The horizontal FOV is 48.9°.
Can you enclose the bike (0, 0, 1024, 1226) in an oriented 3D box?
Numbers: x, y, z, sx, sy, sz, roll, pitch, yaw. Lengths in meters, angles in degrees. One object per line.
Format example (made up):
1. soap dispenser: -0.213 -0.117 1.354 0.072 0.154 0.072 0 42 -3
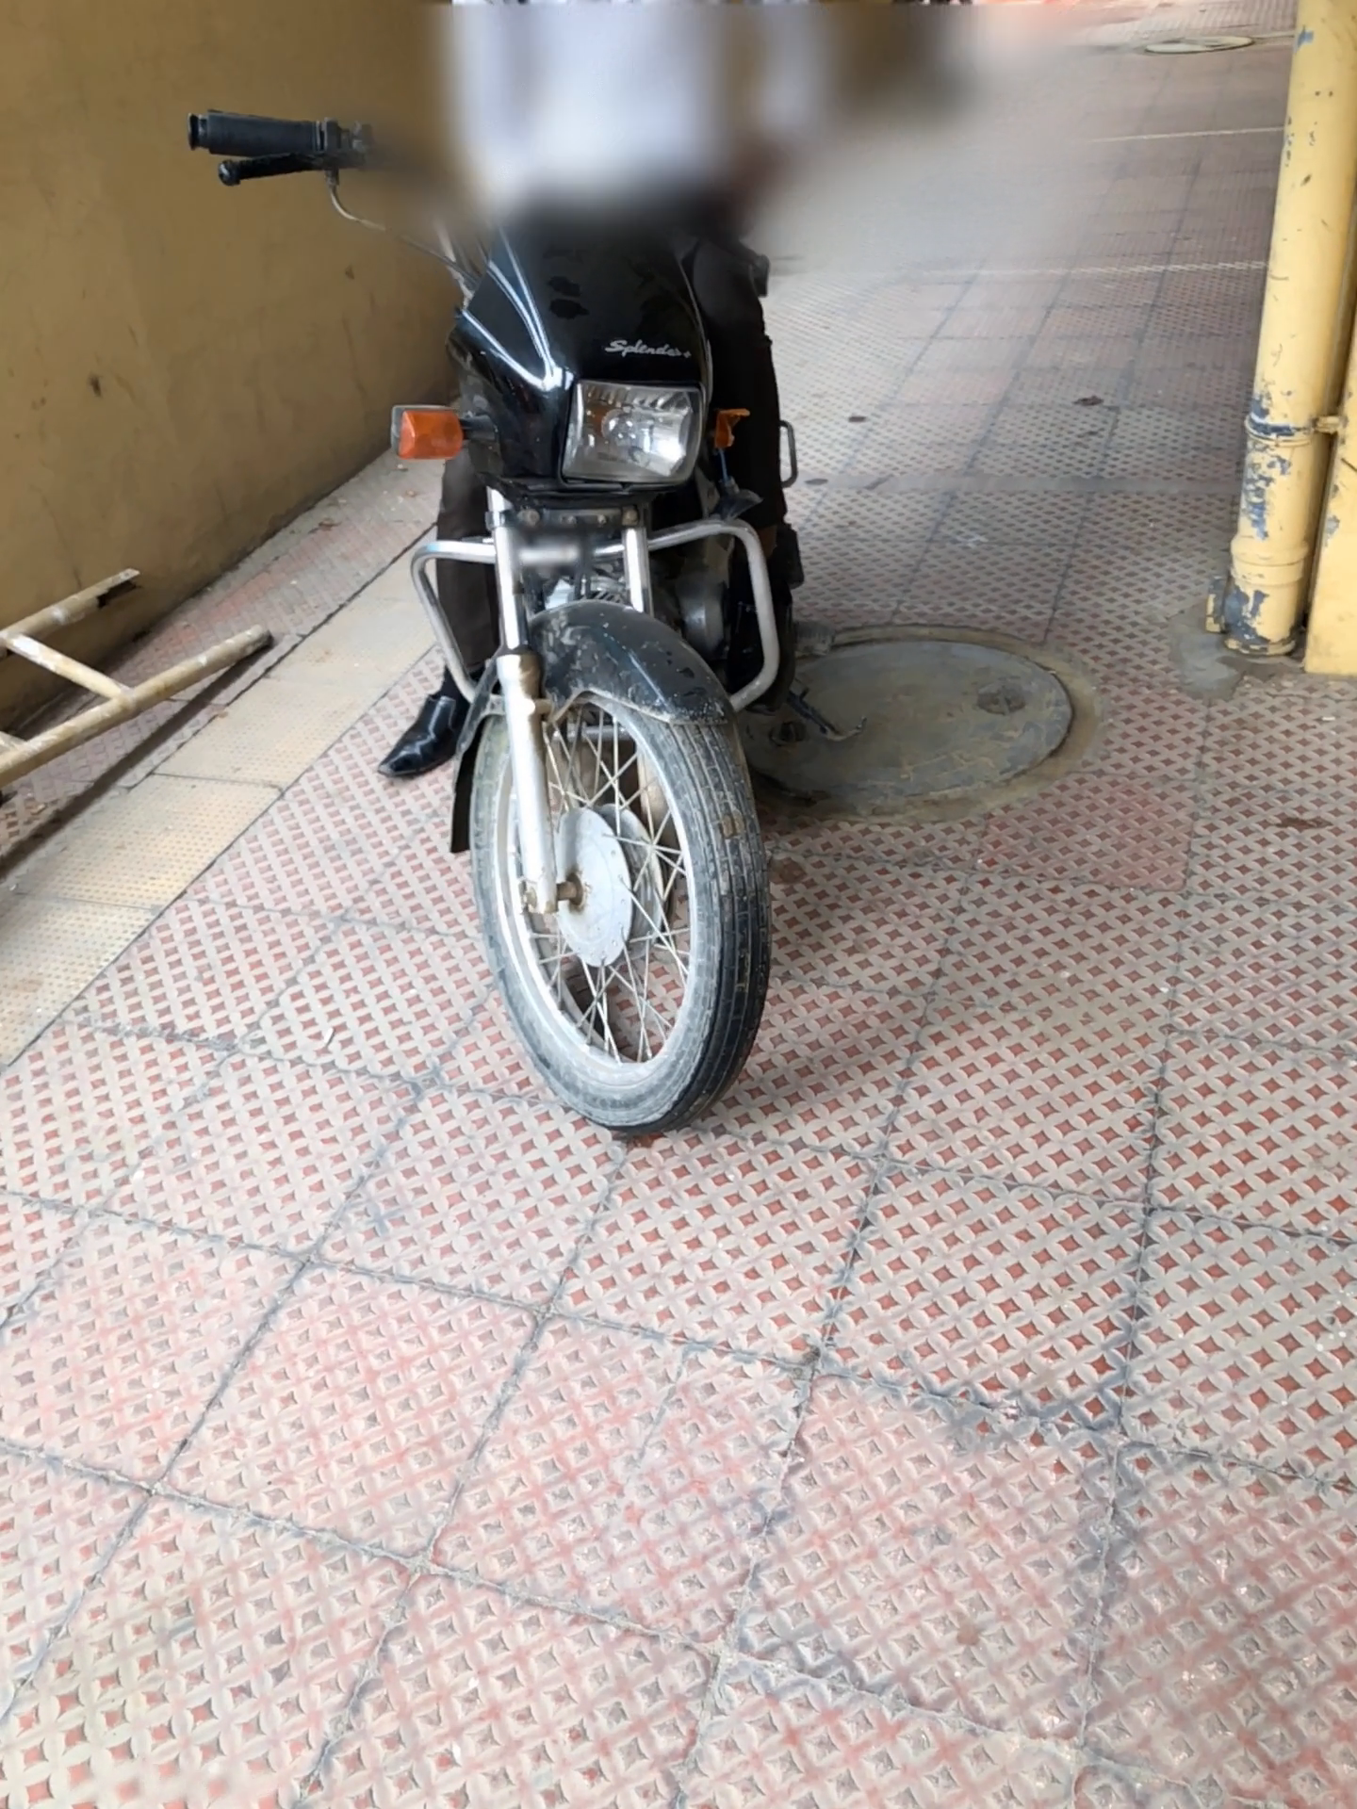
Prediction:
1. bike: -0.053 -0.556 1.992 0.759 0.974 1.607 -3 37 5
